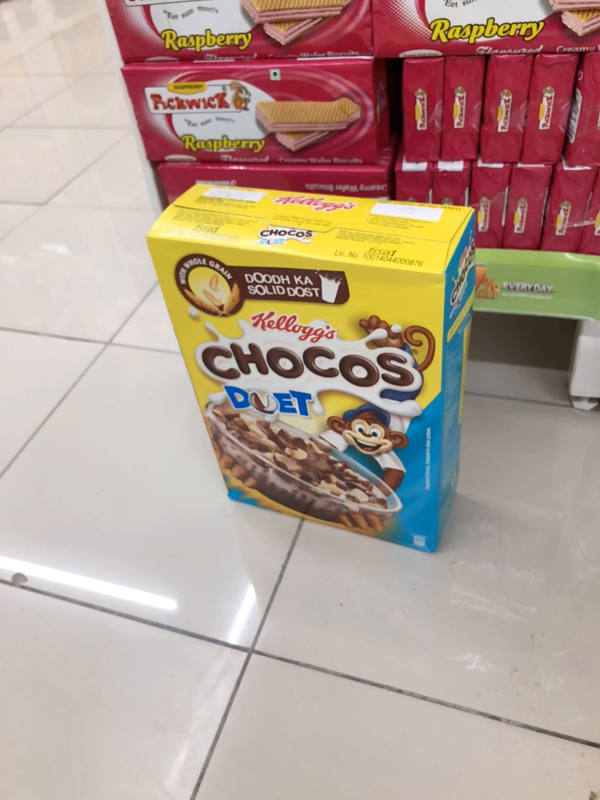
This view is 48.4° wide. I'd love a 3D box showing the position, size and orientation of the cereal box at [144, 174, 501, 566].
[{"bbox_3d":[0.025,-0.012,0.464,0.190,0.258,0.070,11,46,21],"label":"cereal box"}]
